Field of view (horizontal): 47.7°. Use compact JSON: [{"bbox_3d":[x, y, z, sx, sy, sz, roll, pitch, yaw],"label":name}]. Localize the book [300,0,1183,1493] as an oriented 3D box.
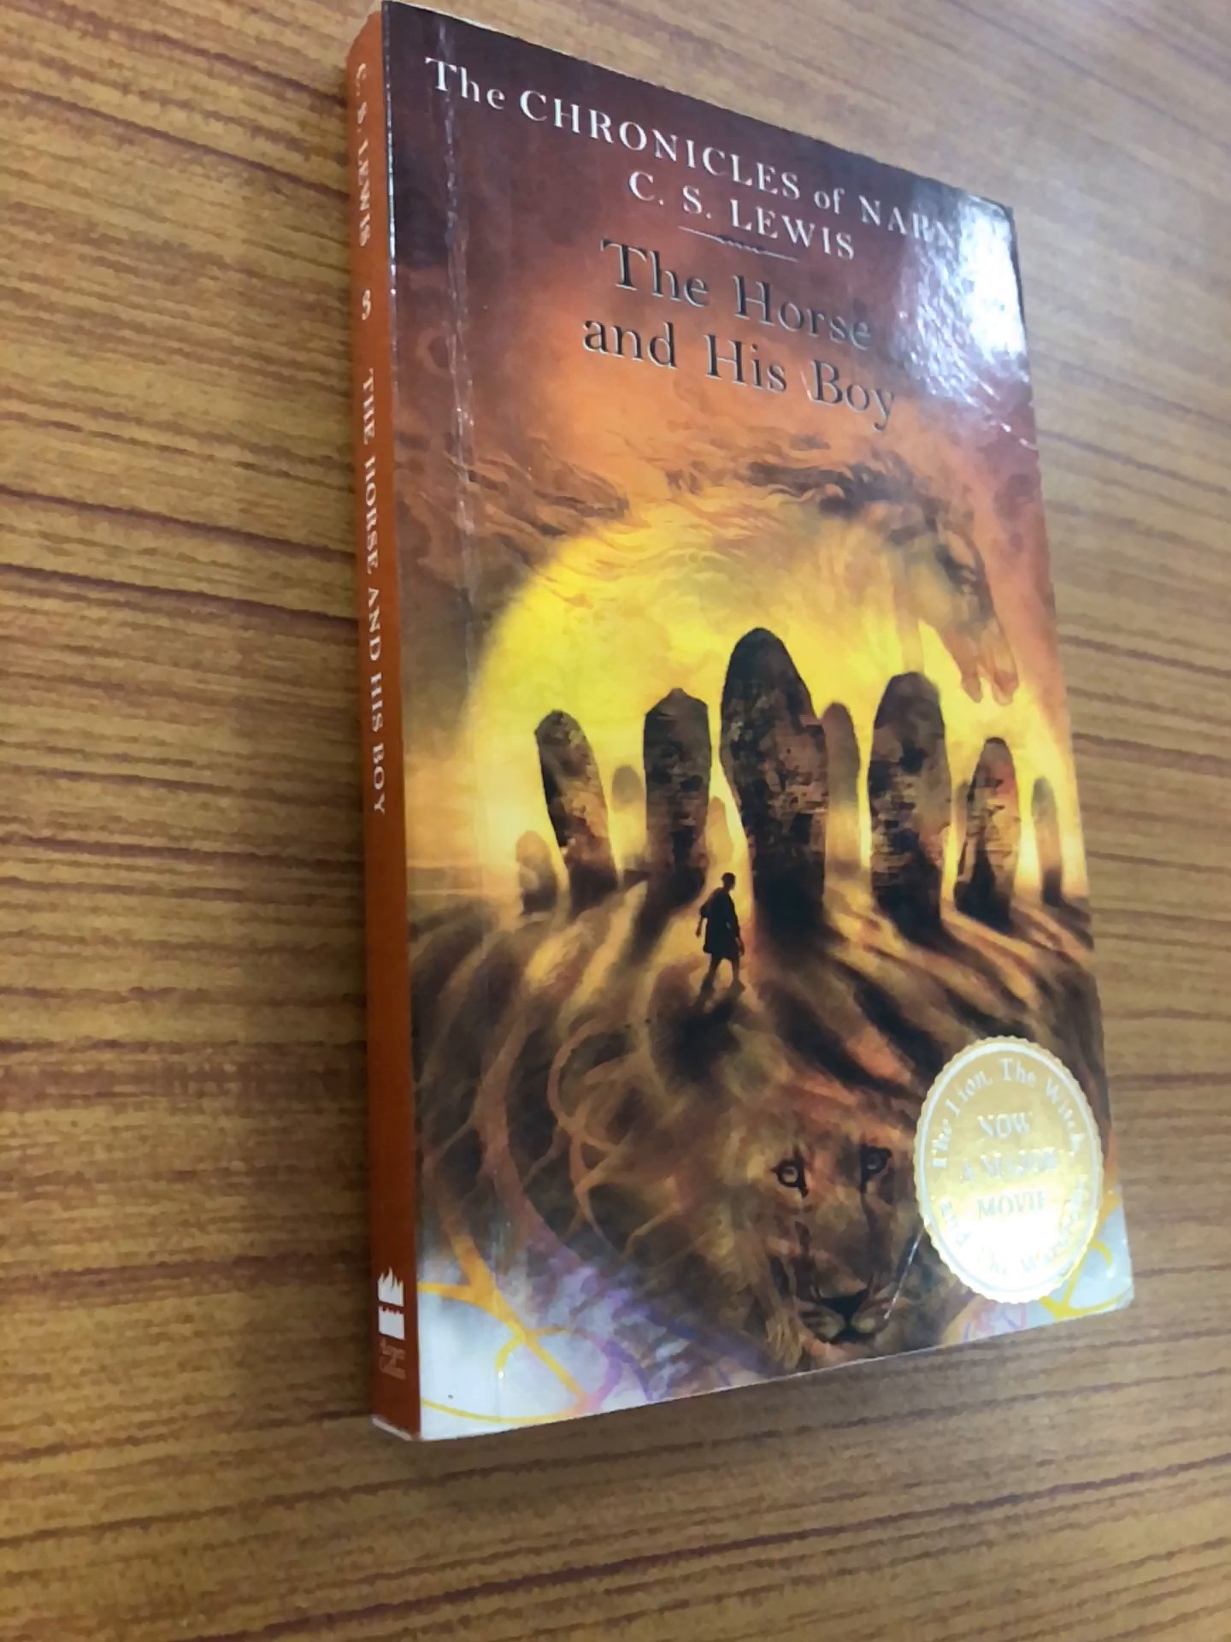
[{"bbox_3d":[0.019,-0.018,0.191,0.120,0.020,0.180,3,79,-30],"label":"book"}]
